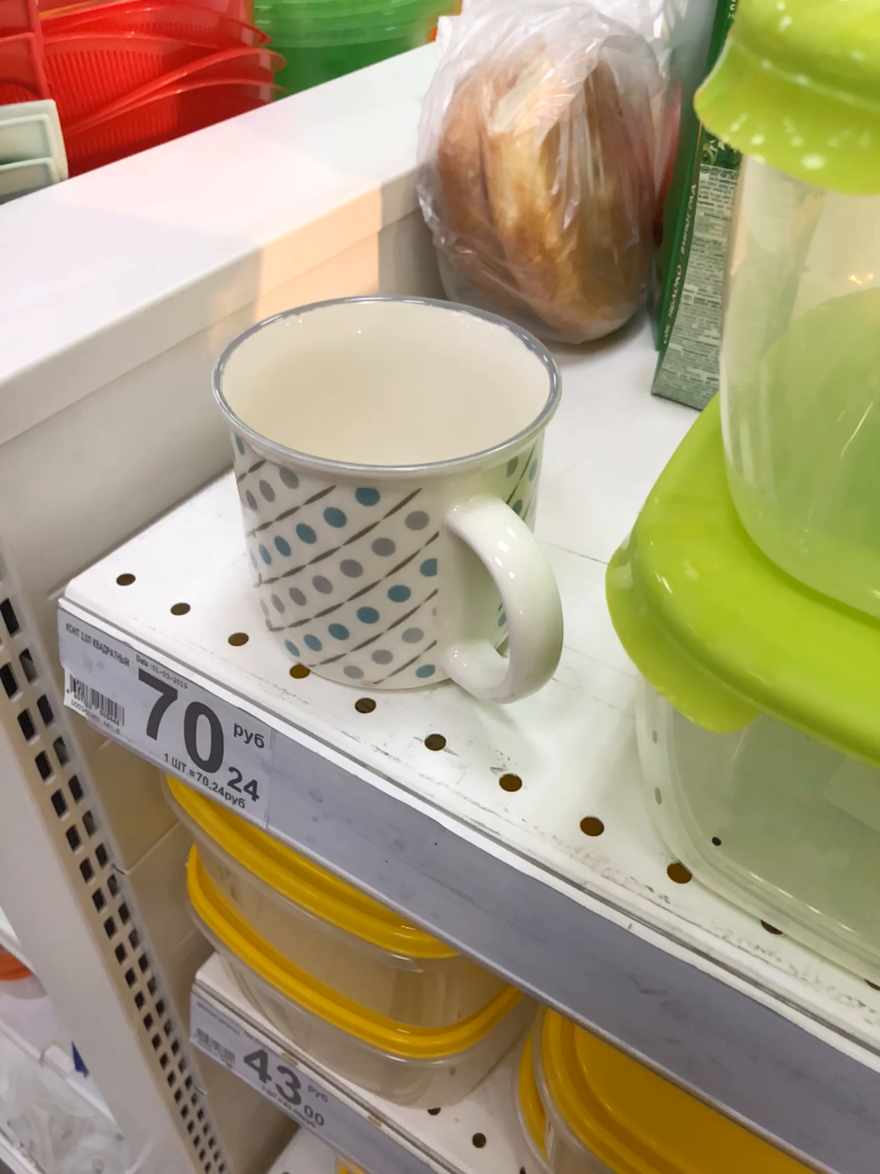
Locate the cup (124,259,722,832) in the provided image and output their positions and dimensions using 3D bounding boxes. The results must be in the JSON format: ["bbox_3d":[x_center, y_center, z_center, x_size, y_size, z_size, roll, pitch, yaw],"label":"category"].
[{"bbox_3d":[-0.009,-0.022,0.280,0.096,0.082,0.128,-29,49,-30],"label":"cup"}]
